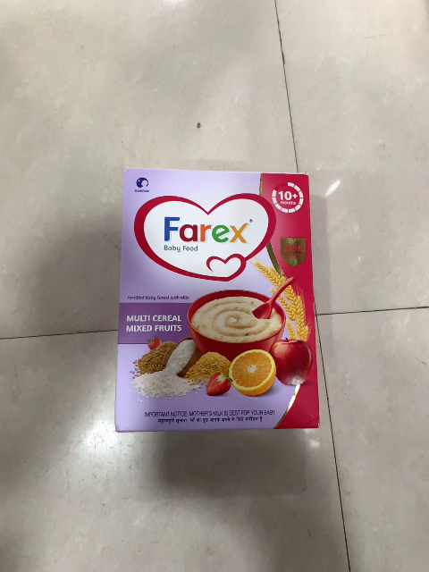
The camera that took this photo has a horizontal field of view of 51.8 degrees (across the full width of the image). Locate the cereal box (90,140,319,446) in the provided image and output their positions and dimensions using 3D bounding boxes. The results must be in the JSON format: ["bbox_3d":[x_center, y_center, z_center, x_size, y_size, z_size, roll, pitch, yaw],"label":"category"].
[{"bbox_3d":[-0.009,0.005,0.337,0.150,0.060,0.210,1,80,-7],"label":"cereal box"}]
